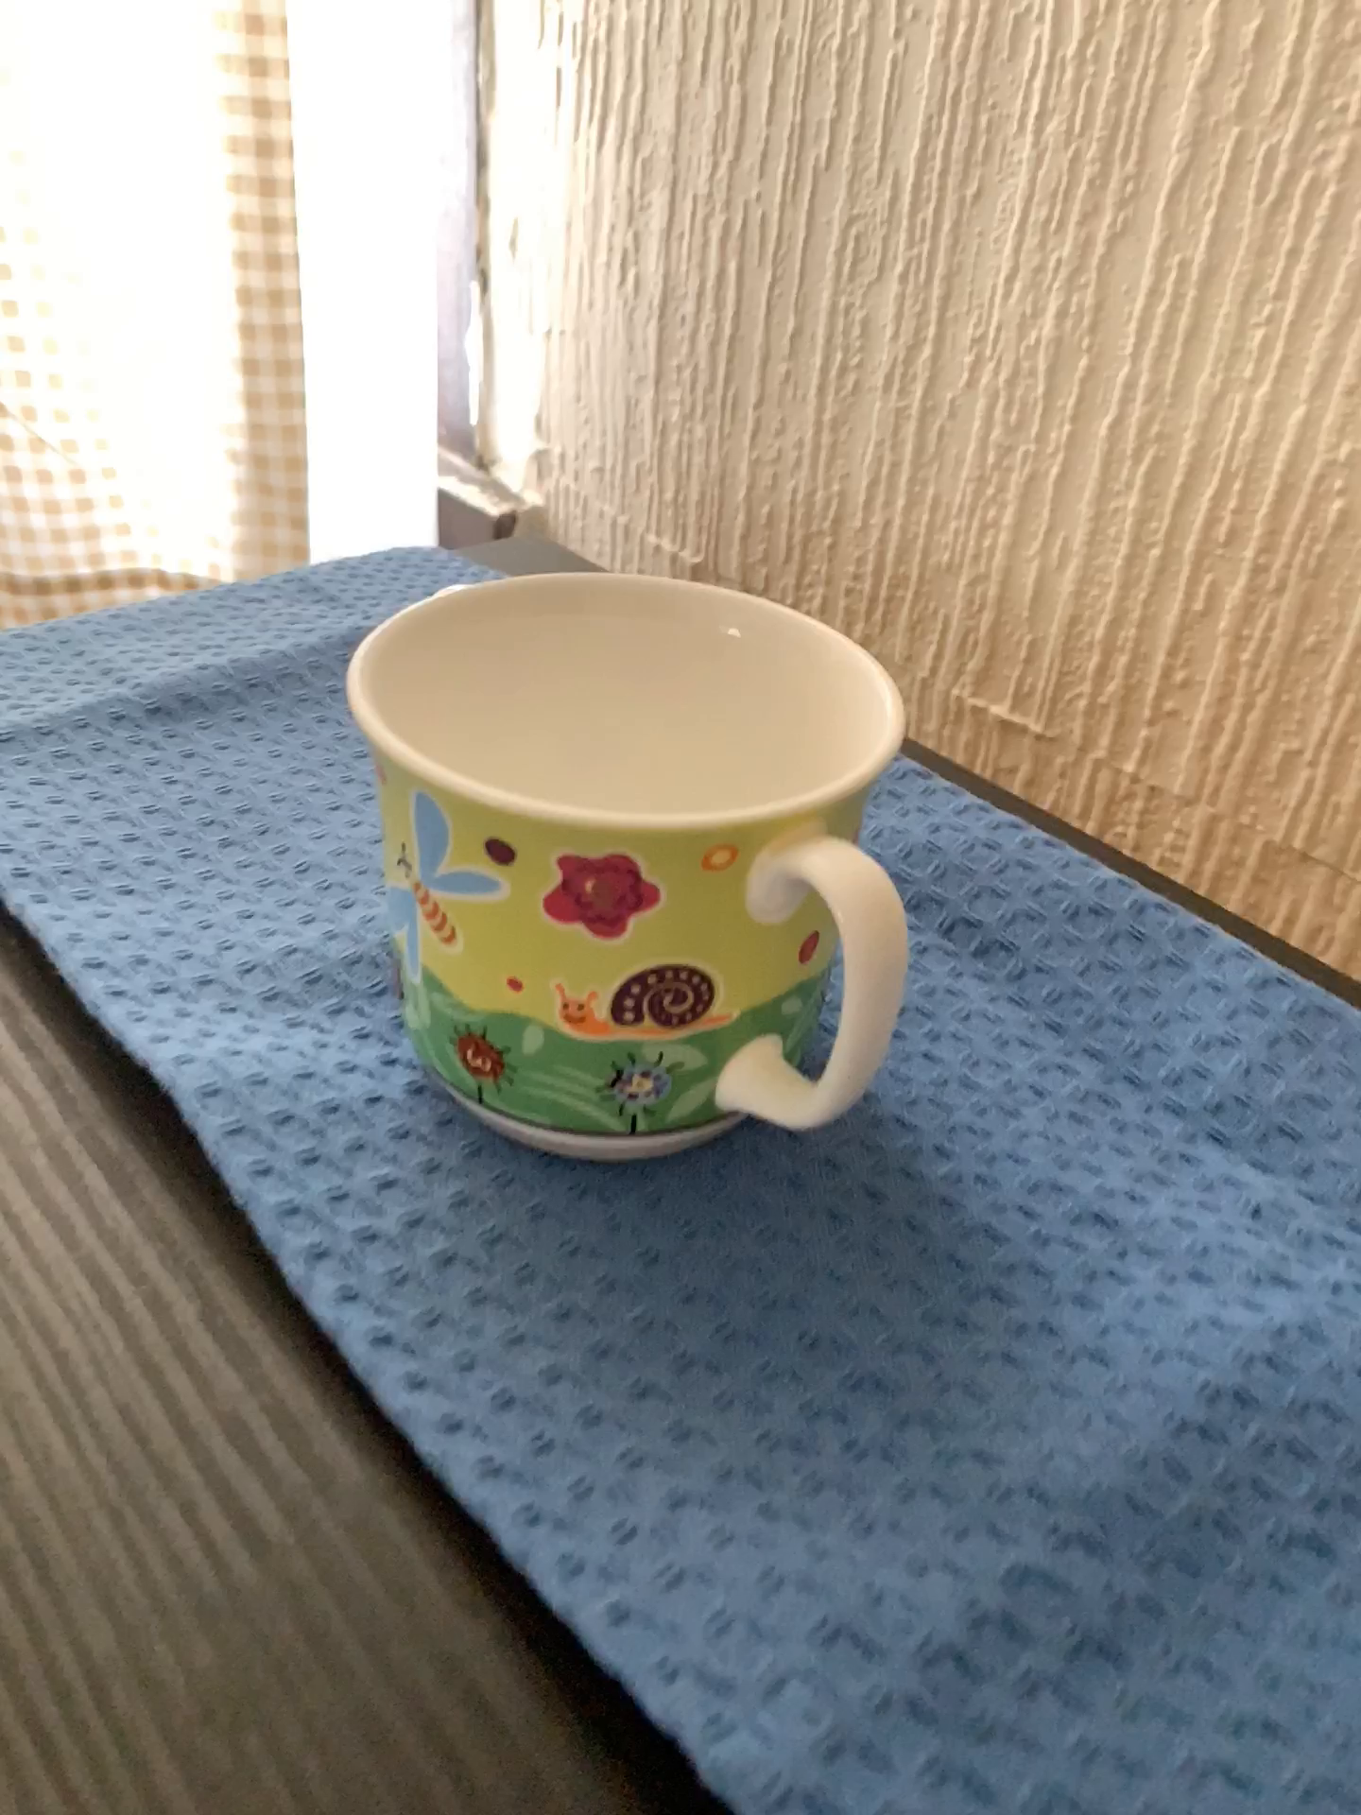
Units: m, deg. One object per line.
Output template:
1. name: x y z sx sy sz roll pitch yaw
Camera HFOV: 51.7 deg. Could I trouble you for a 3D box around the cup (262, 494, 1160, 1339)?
1. cup: -0.003 -0.010 0.235 0.080 0.069 0.121 -22 43 -33
